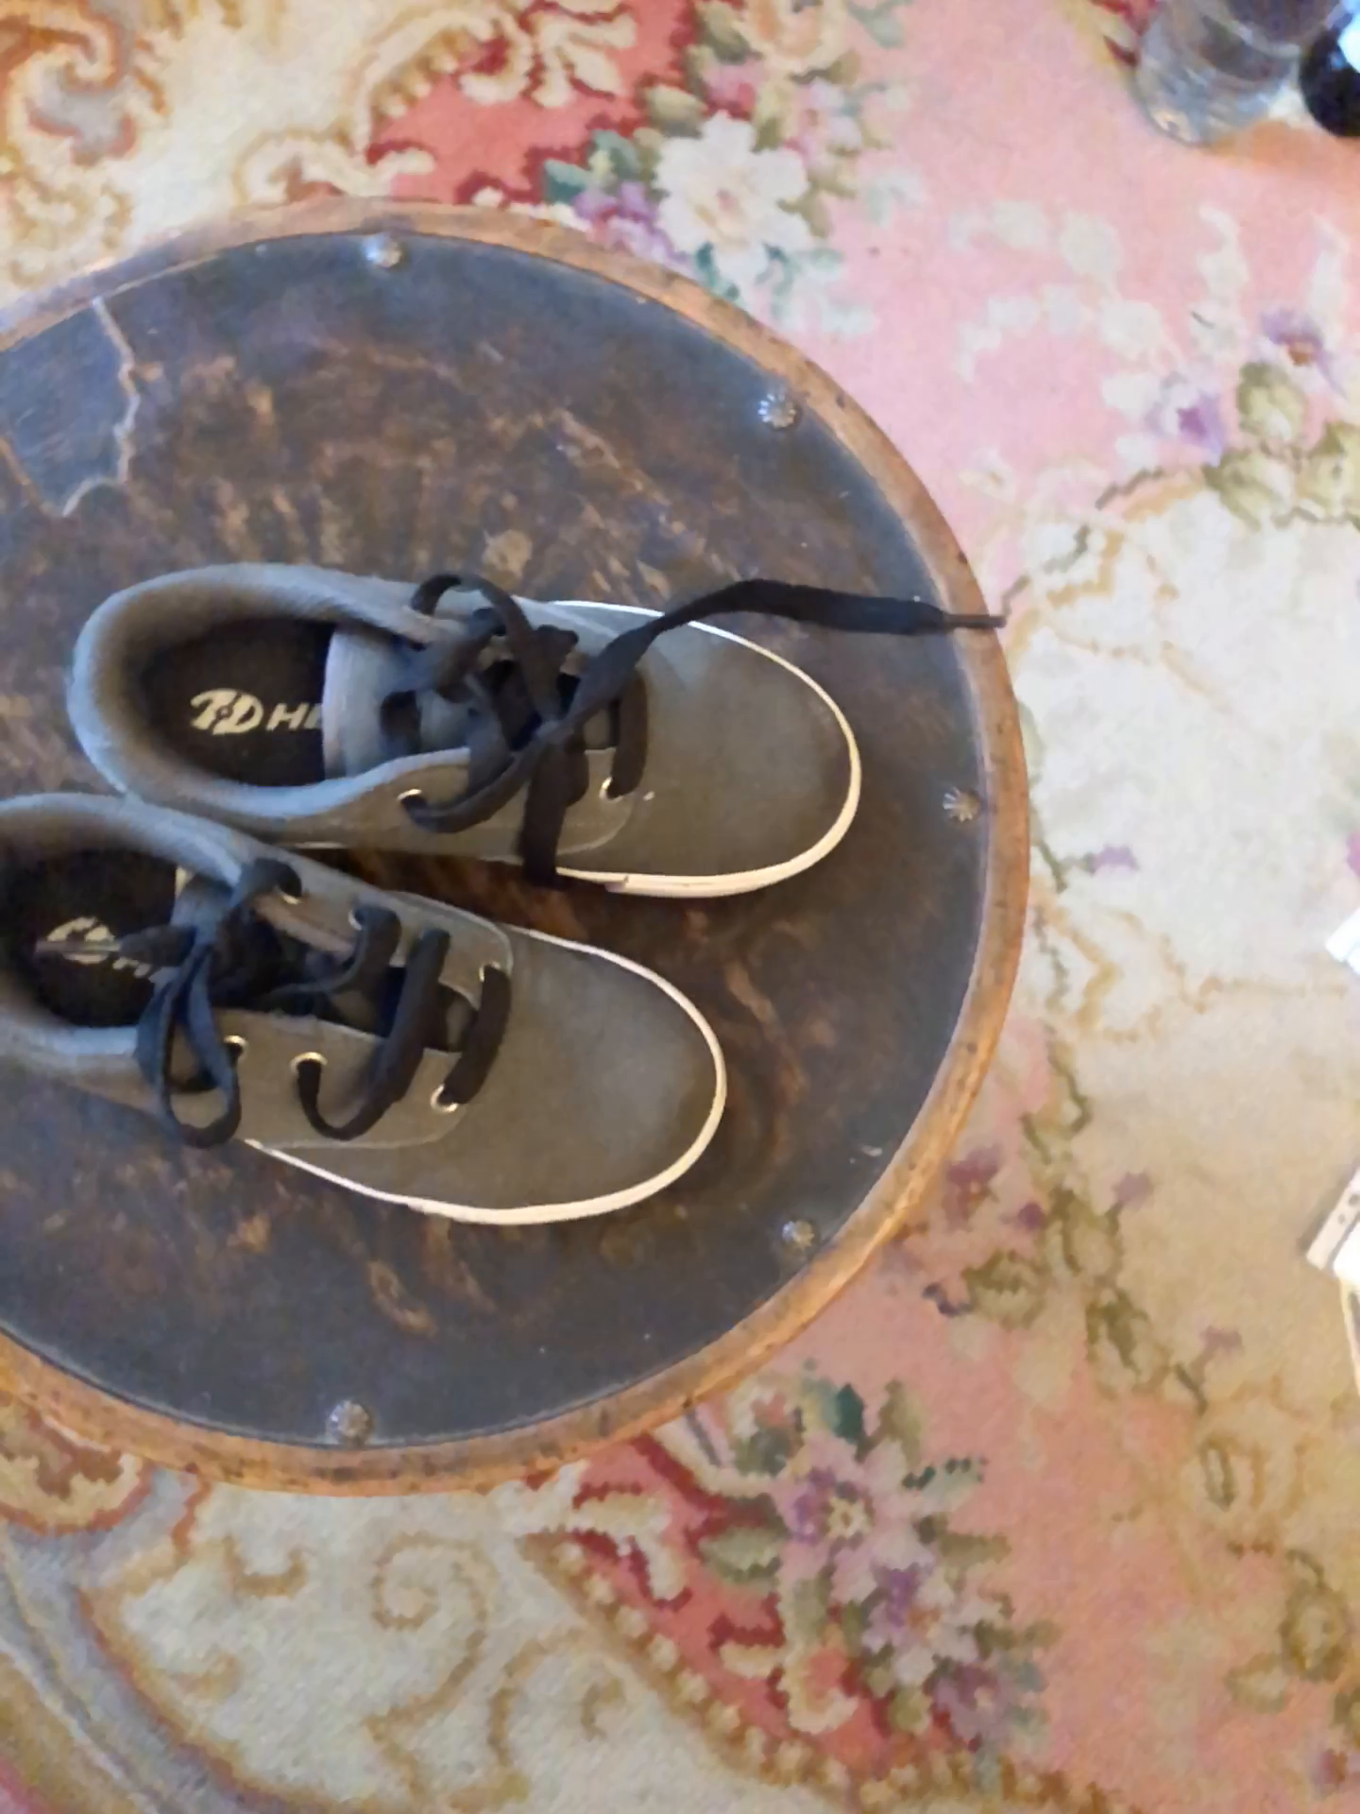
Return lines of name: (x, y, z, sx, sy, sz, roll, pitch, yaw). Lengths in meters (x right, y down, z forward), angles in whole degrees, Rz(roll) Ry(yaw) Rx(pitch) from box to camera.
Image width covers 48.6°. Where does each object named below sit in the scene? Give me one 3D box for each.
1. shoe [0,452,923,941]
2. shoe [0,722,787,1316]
shoe: (-0.053, -0.048, 0.403, 0.211, 0.100, 0.090, 5, 84, -3)
shoe: (-0.090, 0.031, 0.398, 0.211, 0.100, 0.090, 14, 83, -2)
